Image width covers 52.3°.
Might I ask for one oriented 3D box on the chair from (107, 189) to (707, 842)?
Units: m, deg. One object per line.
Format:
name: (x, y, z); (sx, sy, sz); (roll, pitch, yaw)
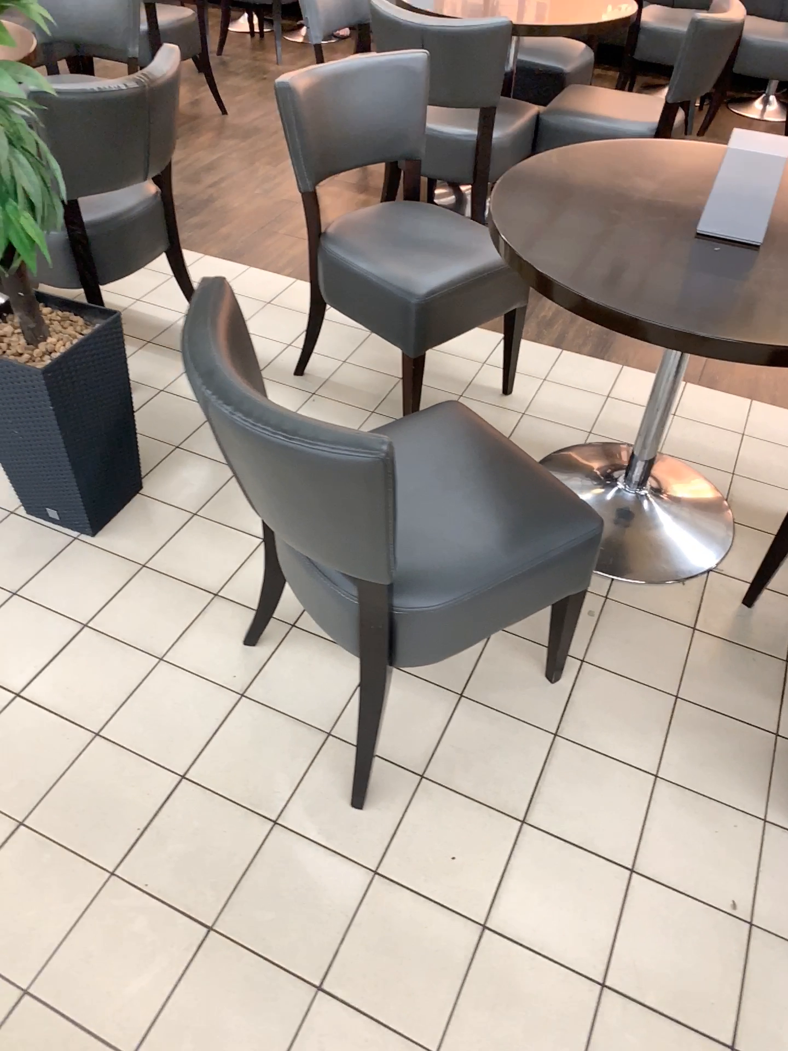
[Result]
chair: (-0.007, -0.029, 1.386); (0.641, 0.797, 0.552); (-22, 48, -24)
